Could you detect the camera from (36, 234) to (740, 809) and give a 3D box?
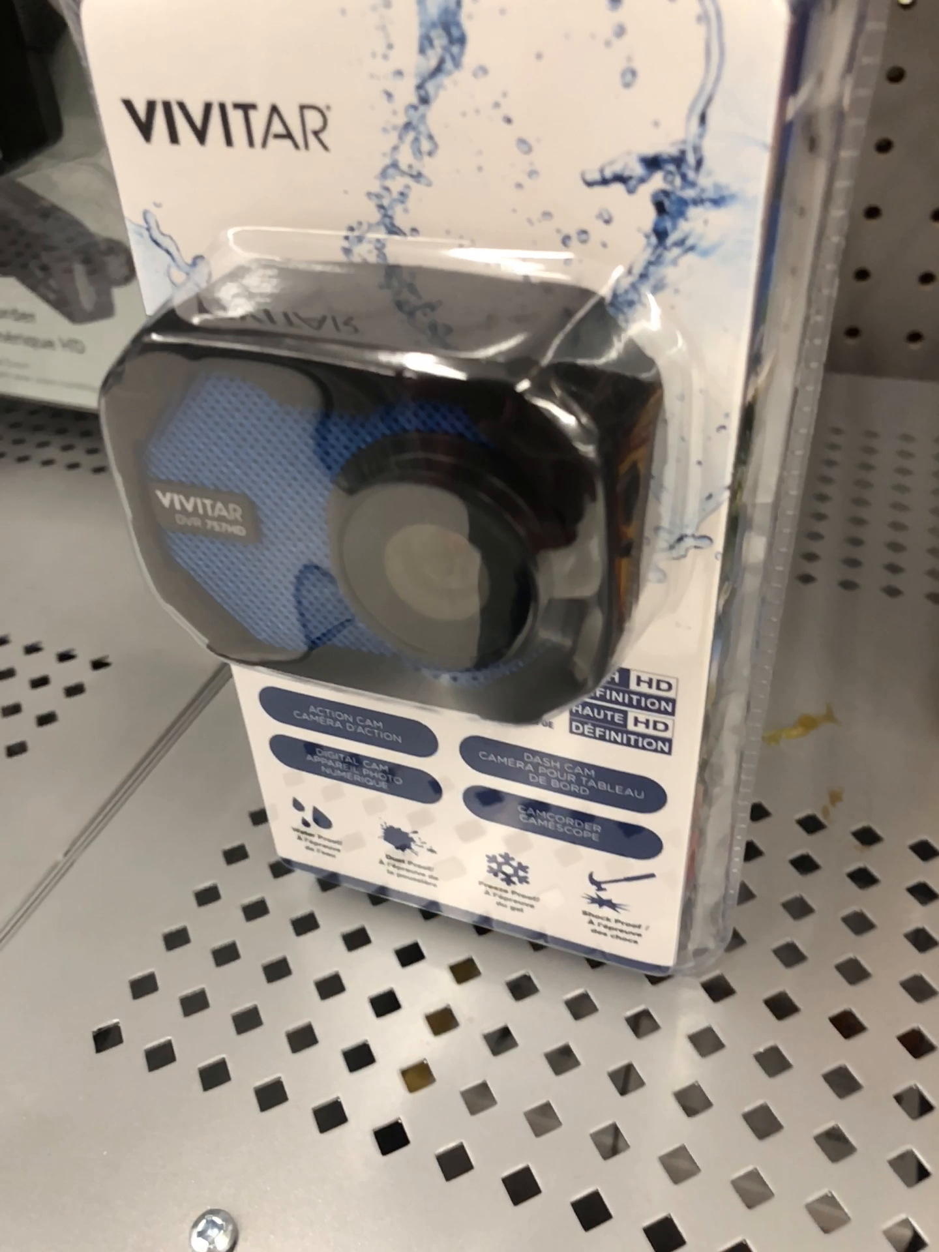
[{"bbox_3d":[-0.007,-0.017,0.136,0.070,0.050,0.040,11,40,20],"label":"camera"}]
